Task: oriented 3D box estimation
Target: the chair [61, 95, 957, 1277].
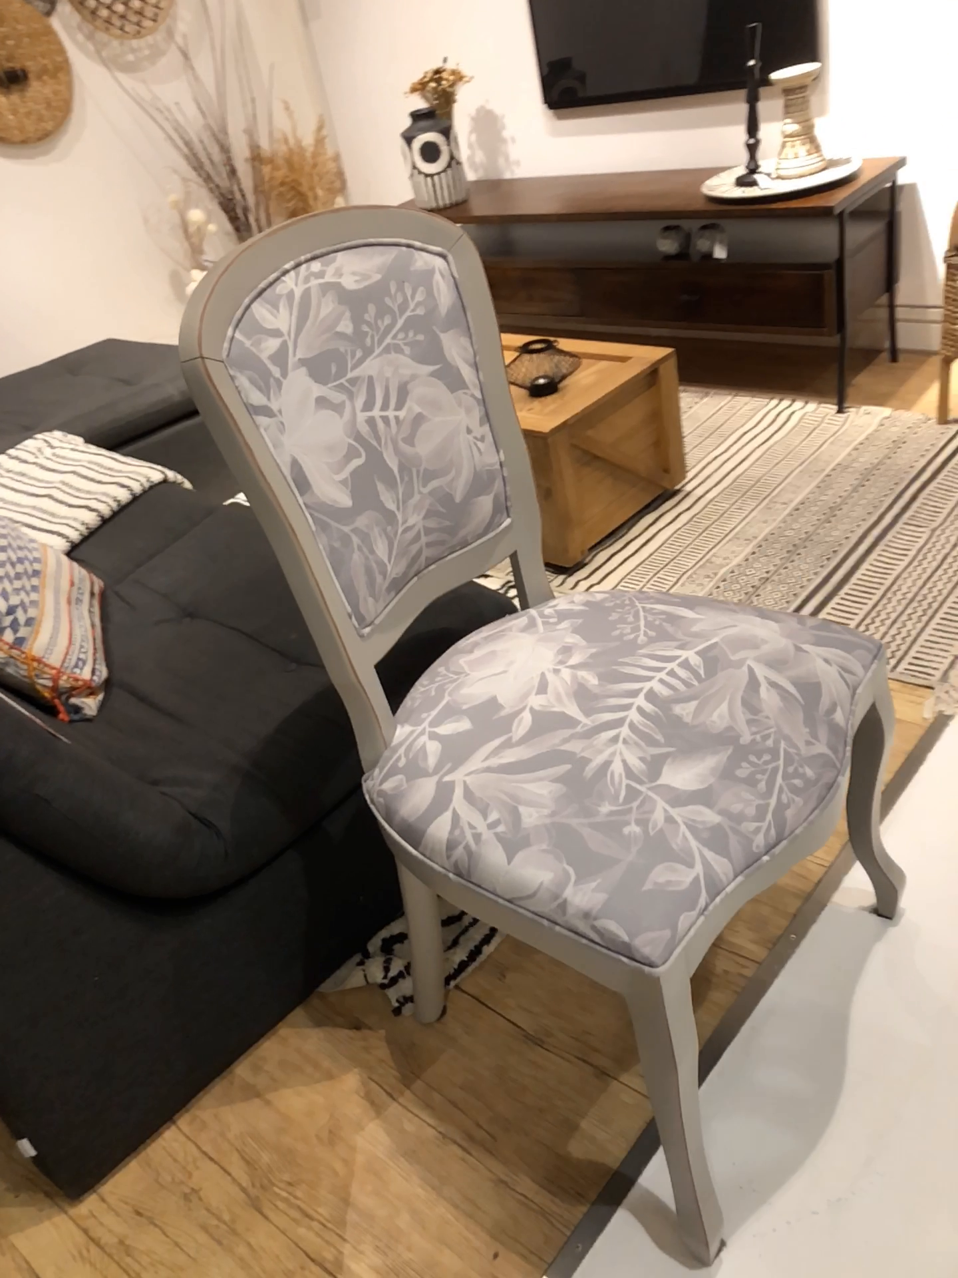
[{"bbox_3d":[0.126,0.030,1.113,0.532,0.943,0.573,16,42,38],"label":"chair"}]
